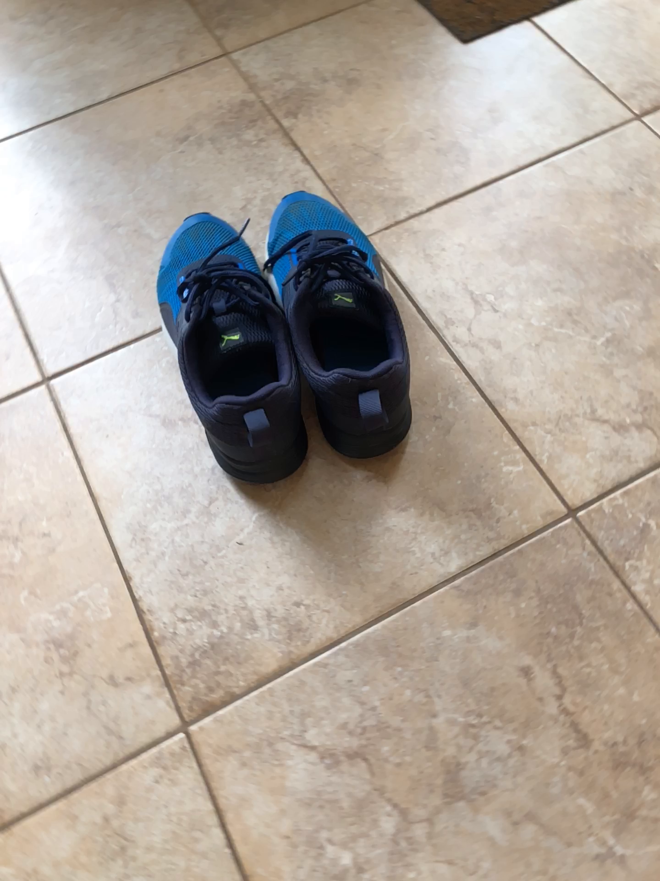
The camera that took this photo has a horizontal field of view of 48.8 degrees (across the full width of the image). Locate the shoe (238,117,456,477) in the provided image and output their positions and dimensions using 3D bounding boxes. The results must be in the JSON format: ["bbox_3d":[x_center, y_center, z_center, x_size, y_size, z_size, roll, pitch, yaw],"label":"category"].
[{"bbox_3d":[0.006,-0.130,0.625,0.110,0.100,0.291,-13,62,-3],"label":"shoe"}]

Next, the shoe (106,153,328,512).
[{"bbox_3d":[-0.098,-0.098,0.618,0.110,0.100,0.281,-17,62,-5],"label":"shoe"}]
